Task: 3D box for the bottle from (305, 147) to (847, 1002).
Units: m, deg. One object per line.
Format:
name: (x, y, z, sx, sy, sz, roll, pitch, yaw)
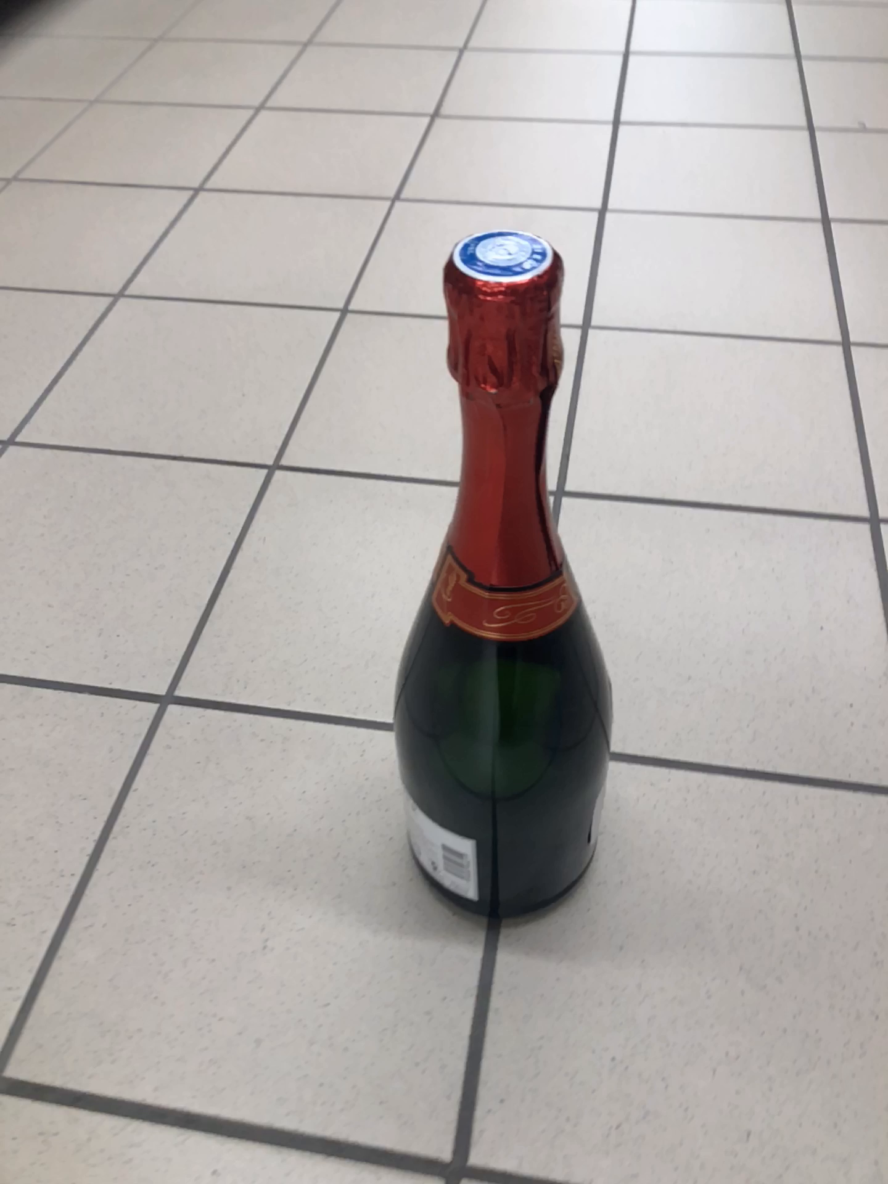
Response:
bottle: (0.031, 0.022, 0.345, 0.100, 0.298, 0.100, -1, 46, 1)
